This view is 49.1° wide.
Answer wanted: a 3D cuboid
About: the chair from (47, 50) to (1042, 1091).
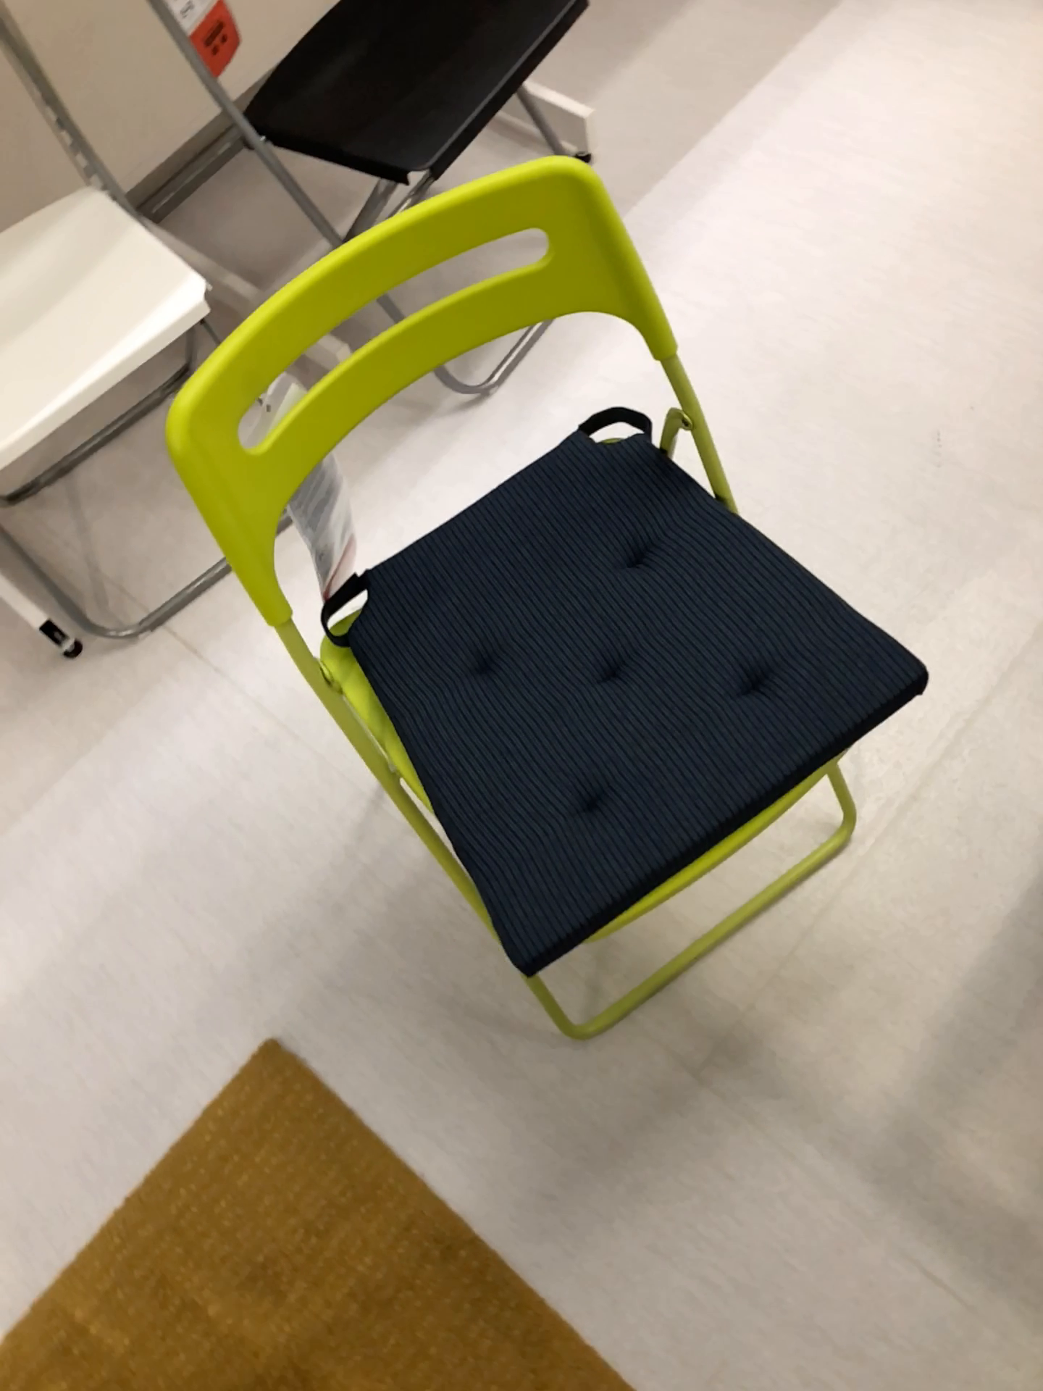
[{"bbox_3d":[0.055,-0.043,0.999,0.490,0.637,0.462,-36,63,-7],"label":"chair"}]
